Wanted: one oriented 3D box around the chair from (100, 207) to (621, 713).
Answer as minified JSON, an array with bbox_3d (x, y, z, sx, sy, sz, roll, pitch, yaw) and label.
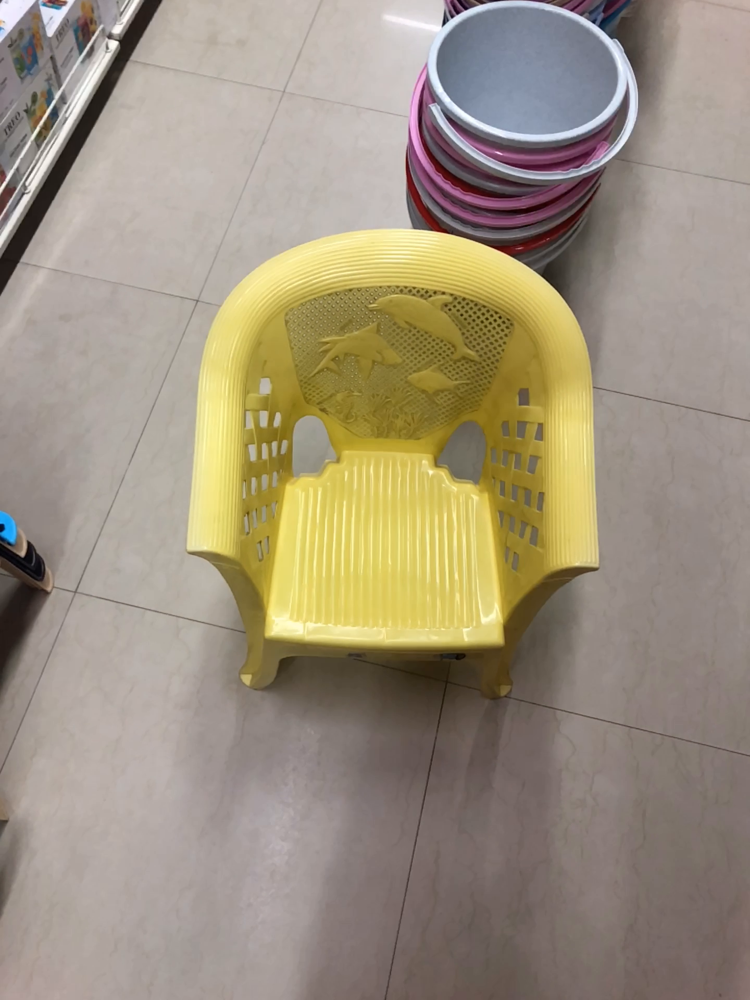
[{"bbox_3d":[-0.010,-0.025,1.026,0.470,0.399,0.472,3,64,-1],"label":"chair"}]
